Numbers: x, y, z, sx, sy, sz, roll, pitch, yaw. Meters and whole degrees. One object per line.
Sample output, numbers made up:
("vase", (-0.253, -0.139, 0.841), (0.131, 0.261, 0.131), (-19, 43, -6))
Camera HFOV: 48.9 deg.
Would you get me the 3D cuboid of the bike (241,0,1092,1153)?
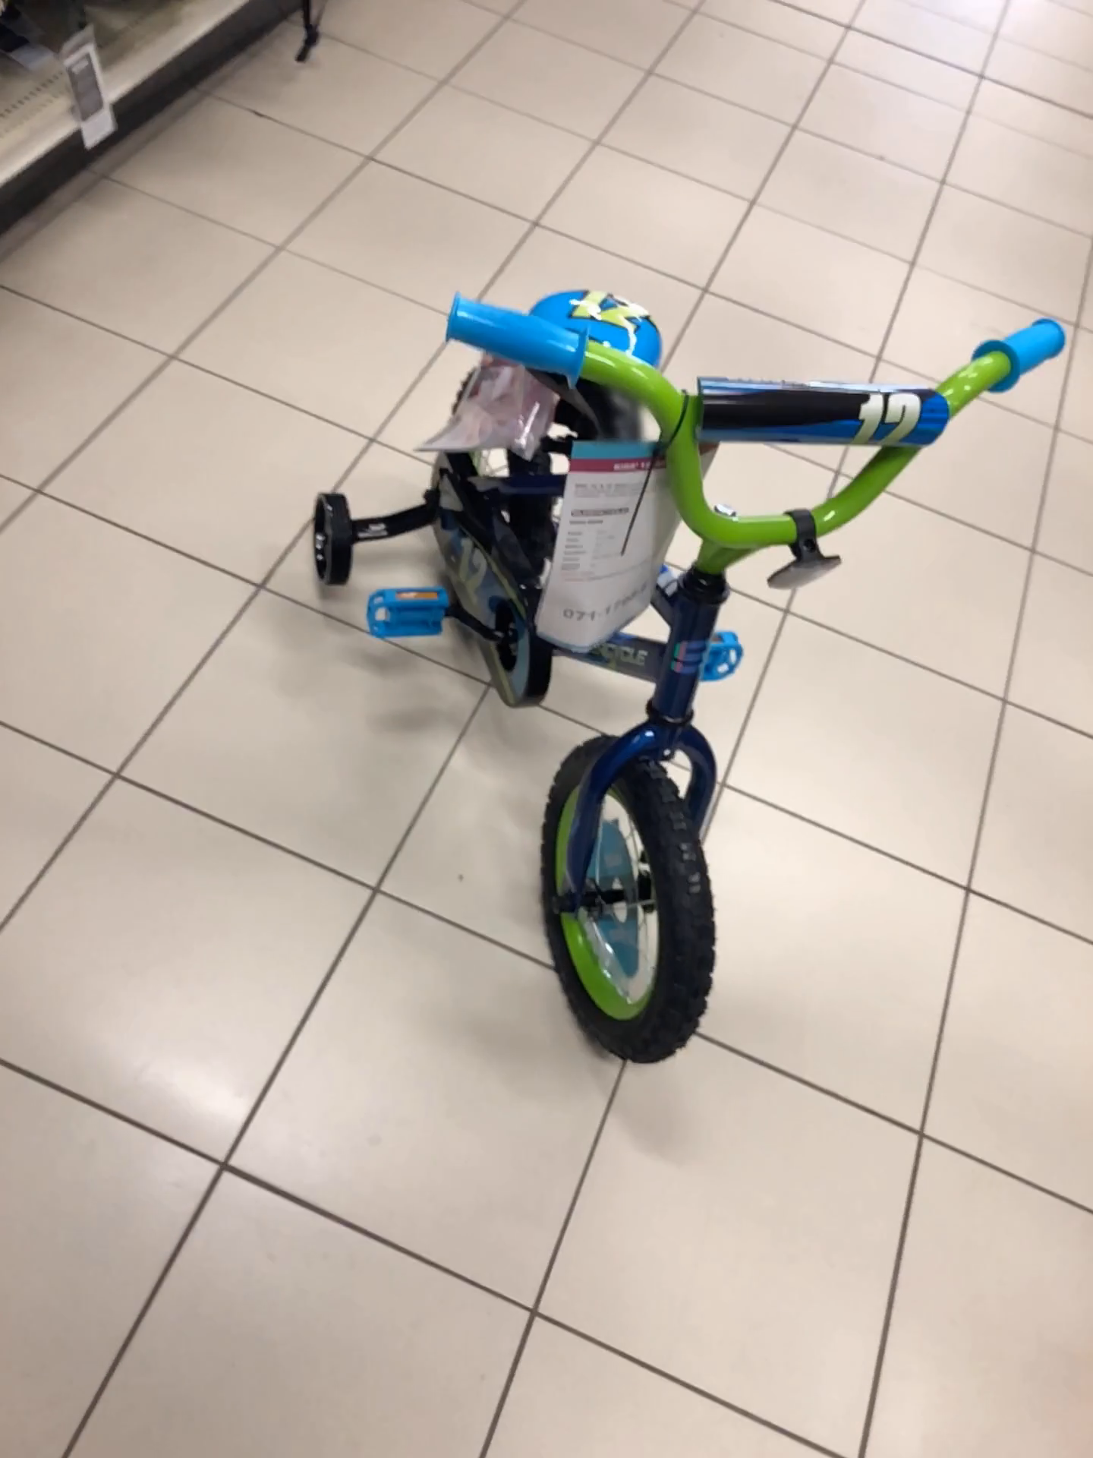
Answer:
("bike", (0.050, -0.171, 1.101), (0.548, 0.675, 0.797), (-6, 58, -16))
